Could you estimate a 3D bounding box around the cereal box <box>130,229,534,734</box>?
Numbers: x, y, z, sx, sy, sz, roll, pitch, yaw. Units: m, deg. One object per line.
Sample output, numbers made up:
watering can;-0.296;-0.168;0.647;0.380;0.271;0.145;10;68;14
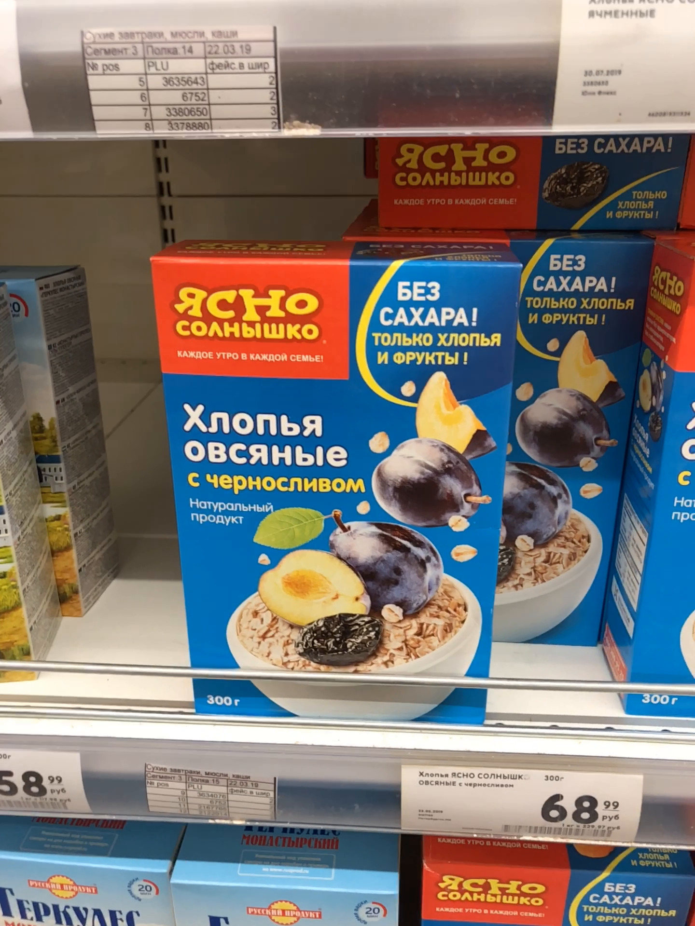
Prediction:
cereal box;-0.003;0.012;0.329;0.140;0.209;0.050;1;23;5
